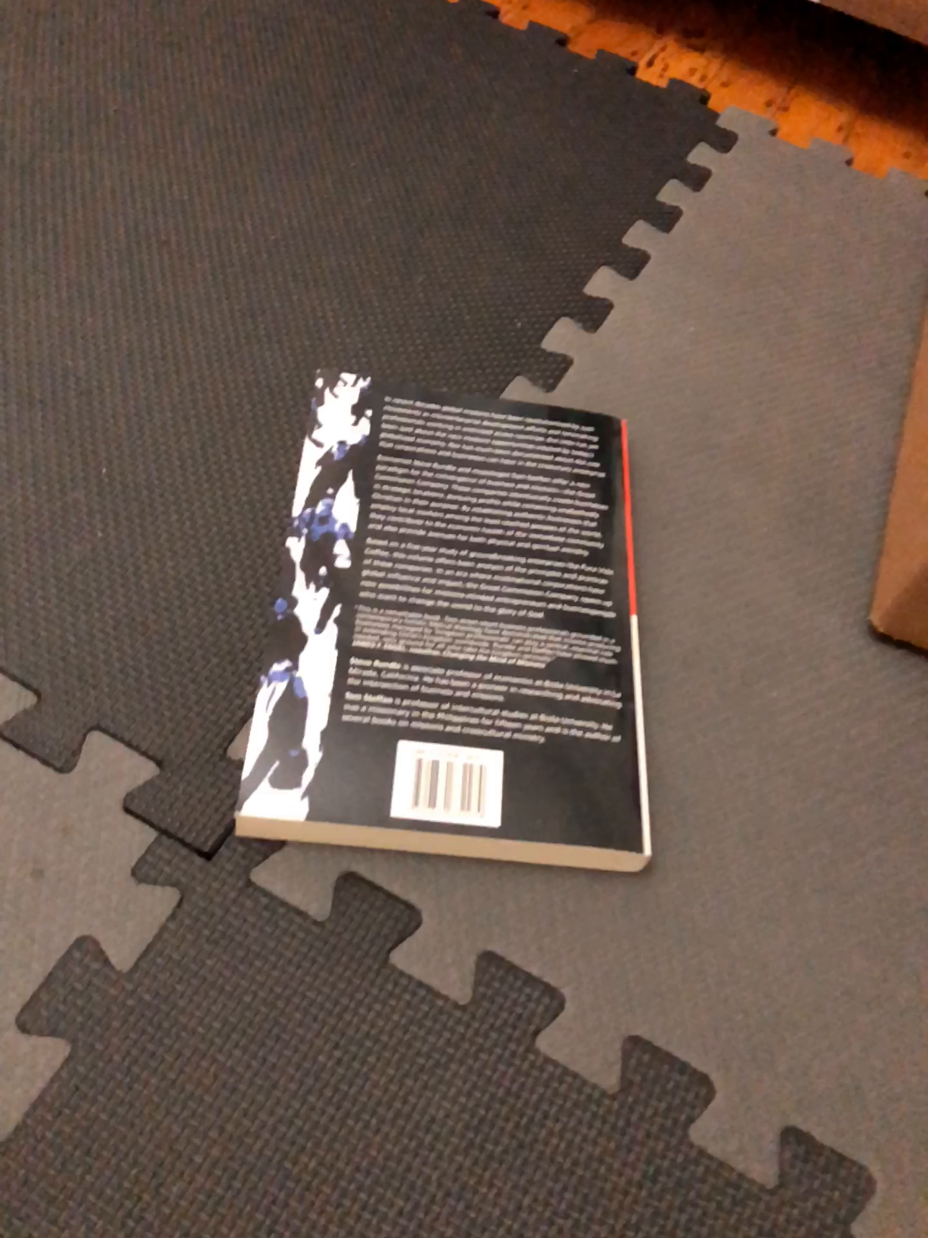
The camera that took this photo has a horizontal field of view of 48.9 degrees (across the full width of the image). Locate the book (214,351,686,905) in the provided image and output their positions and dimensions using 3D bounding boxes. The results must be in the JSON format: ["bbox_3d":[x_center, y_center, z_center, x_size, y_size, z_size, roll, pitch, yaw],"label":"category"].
[{"bbox_3d":[0.001,-0.011,0.397,0.150,0.020,0.231,6,54,-5],"label":"book"}]

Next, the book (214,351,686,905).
[{"bbox_3d":[0.001,-0.011,0.397,0.150,0.020,0.231,6,54,-5],"label":"book"}]
